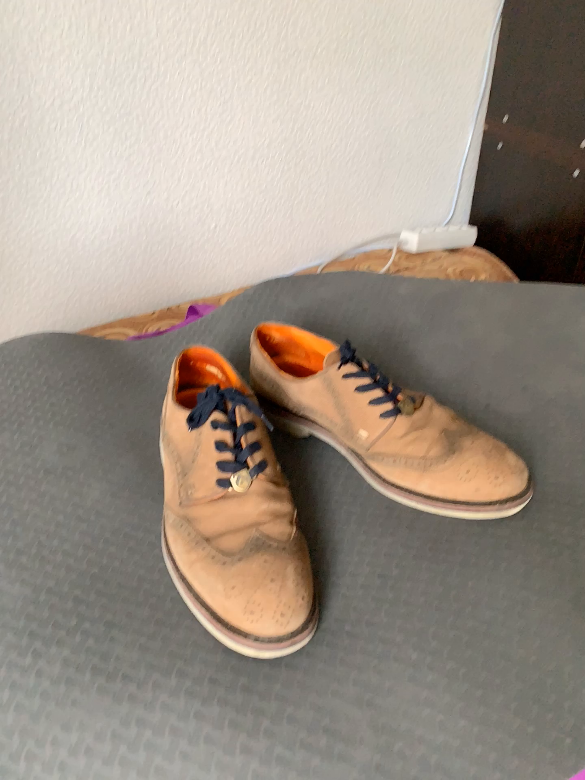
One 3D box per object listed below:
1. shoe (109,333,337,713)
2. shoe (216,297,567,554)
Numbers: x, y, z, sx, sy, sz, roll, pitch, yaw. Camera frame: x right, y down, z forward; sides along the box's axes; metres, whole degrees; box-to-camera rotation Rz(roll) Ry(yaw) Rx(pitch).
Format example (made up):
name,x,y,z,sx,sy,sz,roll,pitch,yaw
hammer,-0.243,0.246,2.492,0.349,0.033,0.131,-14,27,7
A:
name,x,y,z,sx,sy,sz,roll,pitch,yaw
shoe,-0.072,0.078,0.491,0.110,0.090,0.302,-13,39,-14
shoe,0.078,0.016,0.555,0.291,0.090,0.110,24,45,29
